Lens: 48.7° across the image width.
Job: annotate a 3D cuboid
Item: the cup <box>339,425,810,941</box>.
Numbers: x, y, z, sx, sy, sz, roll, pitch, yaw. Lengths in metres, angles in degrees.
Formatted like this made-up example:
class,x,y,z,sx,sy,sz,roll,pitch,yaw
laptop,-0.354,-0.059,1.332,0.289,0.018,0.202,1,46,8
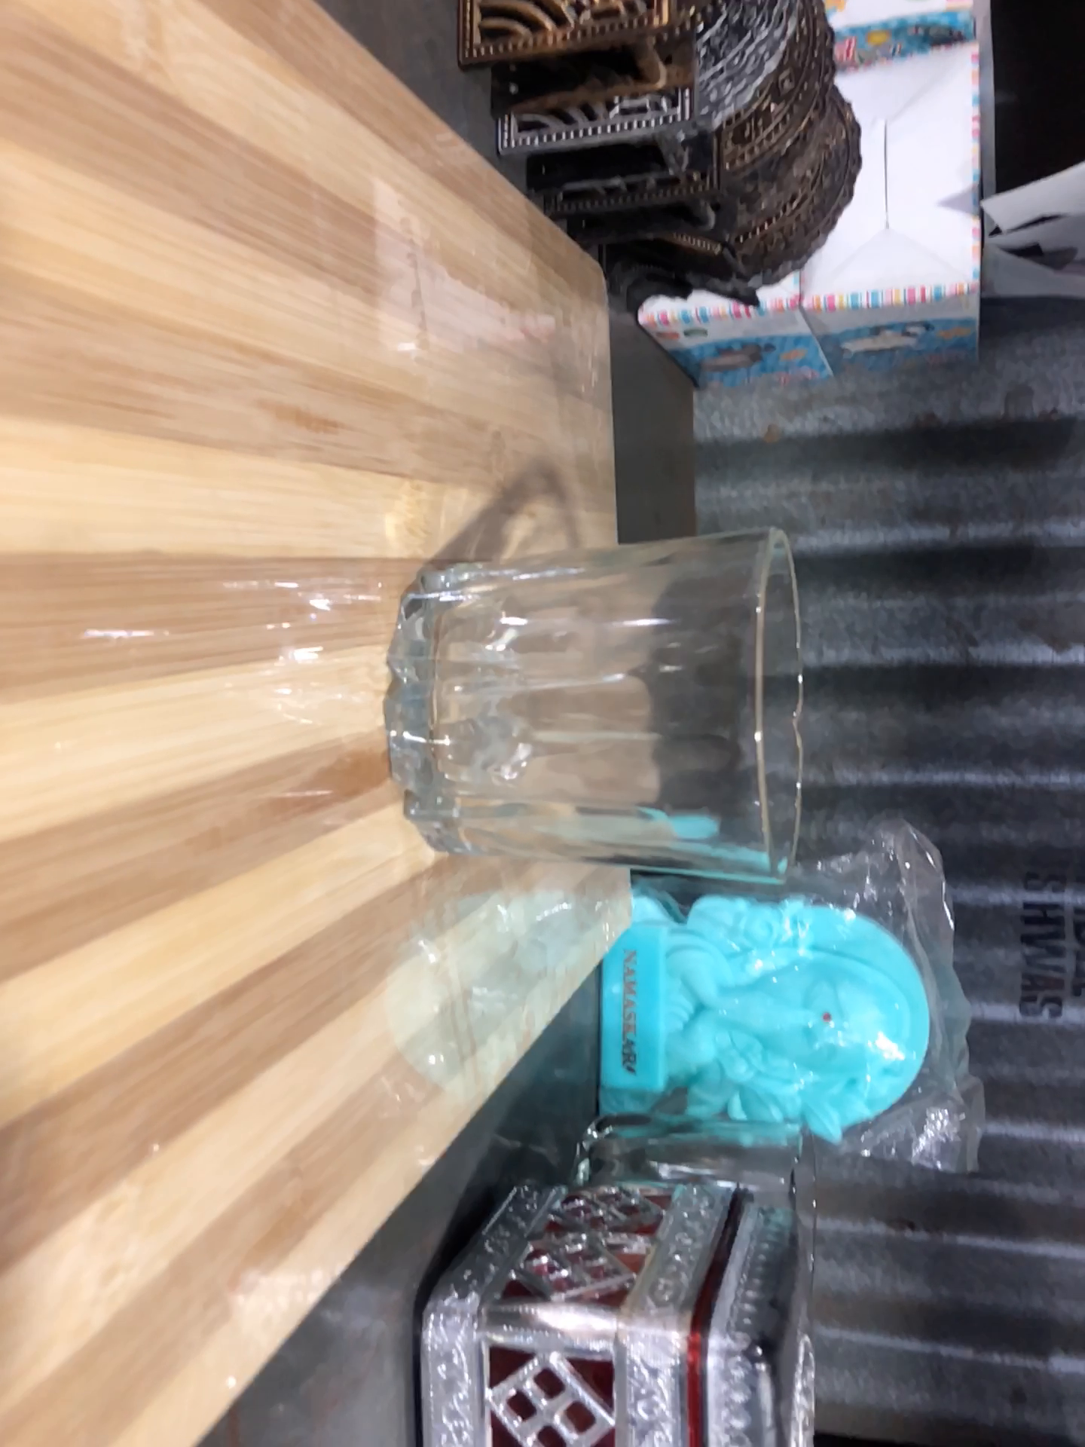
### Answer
class,x,y,z,sx,sy,sz,roll,pitch,yaw
cup,0.016,-0.006,0.270,0.080,0.080,0.080,0,90,-74
